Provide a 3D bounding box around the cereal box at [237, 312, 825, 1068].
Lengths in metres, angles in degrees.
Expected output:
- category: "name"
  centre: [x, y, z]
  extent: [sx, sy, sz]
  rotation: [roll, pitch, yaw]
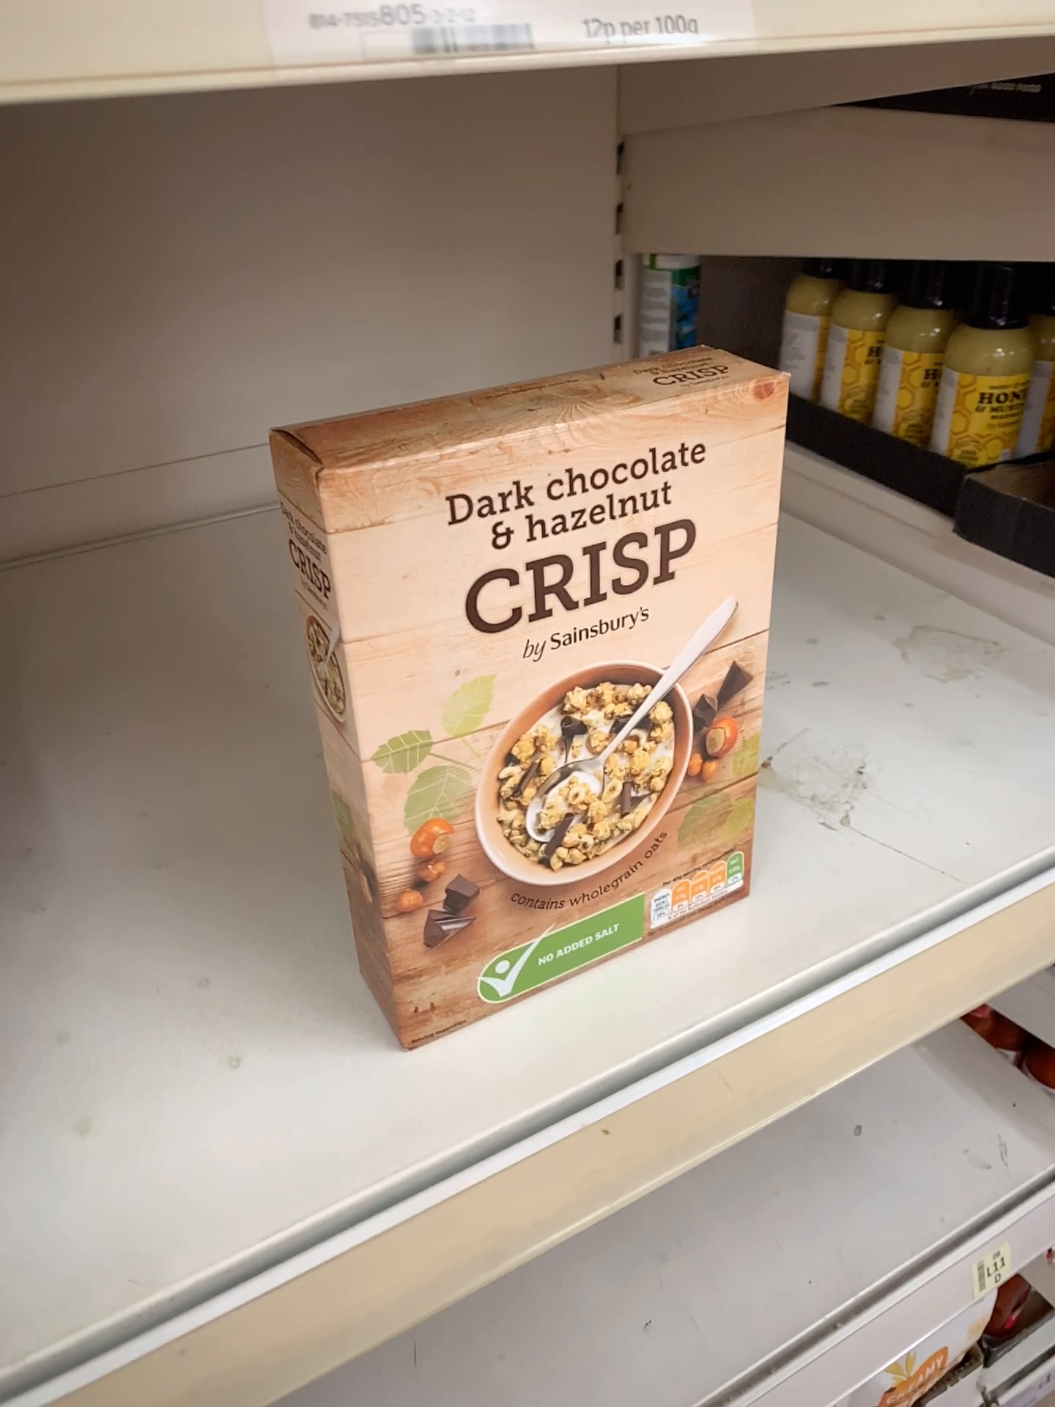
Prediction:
- category: "cereal box"
  centre: [0.010, -0.005, 0.422]
  extent: [0.190, 0.248, 0.060]
  rotation: [-18, 34, -24]
